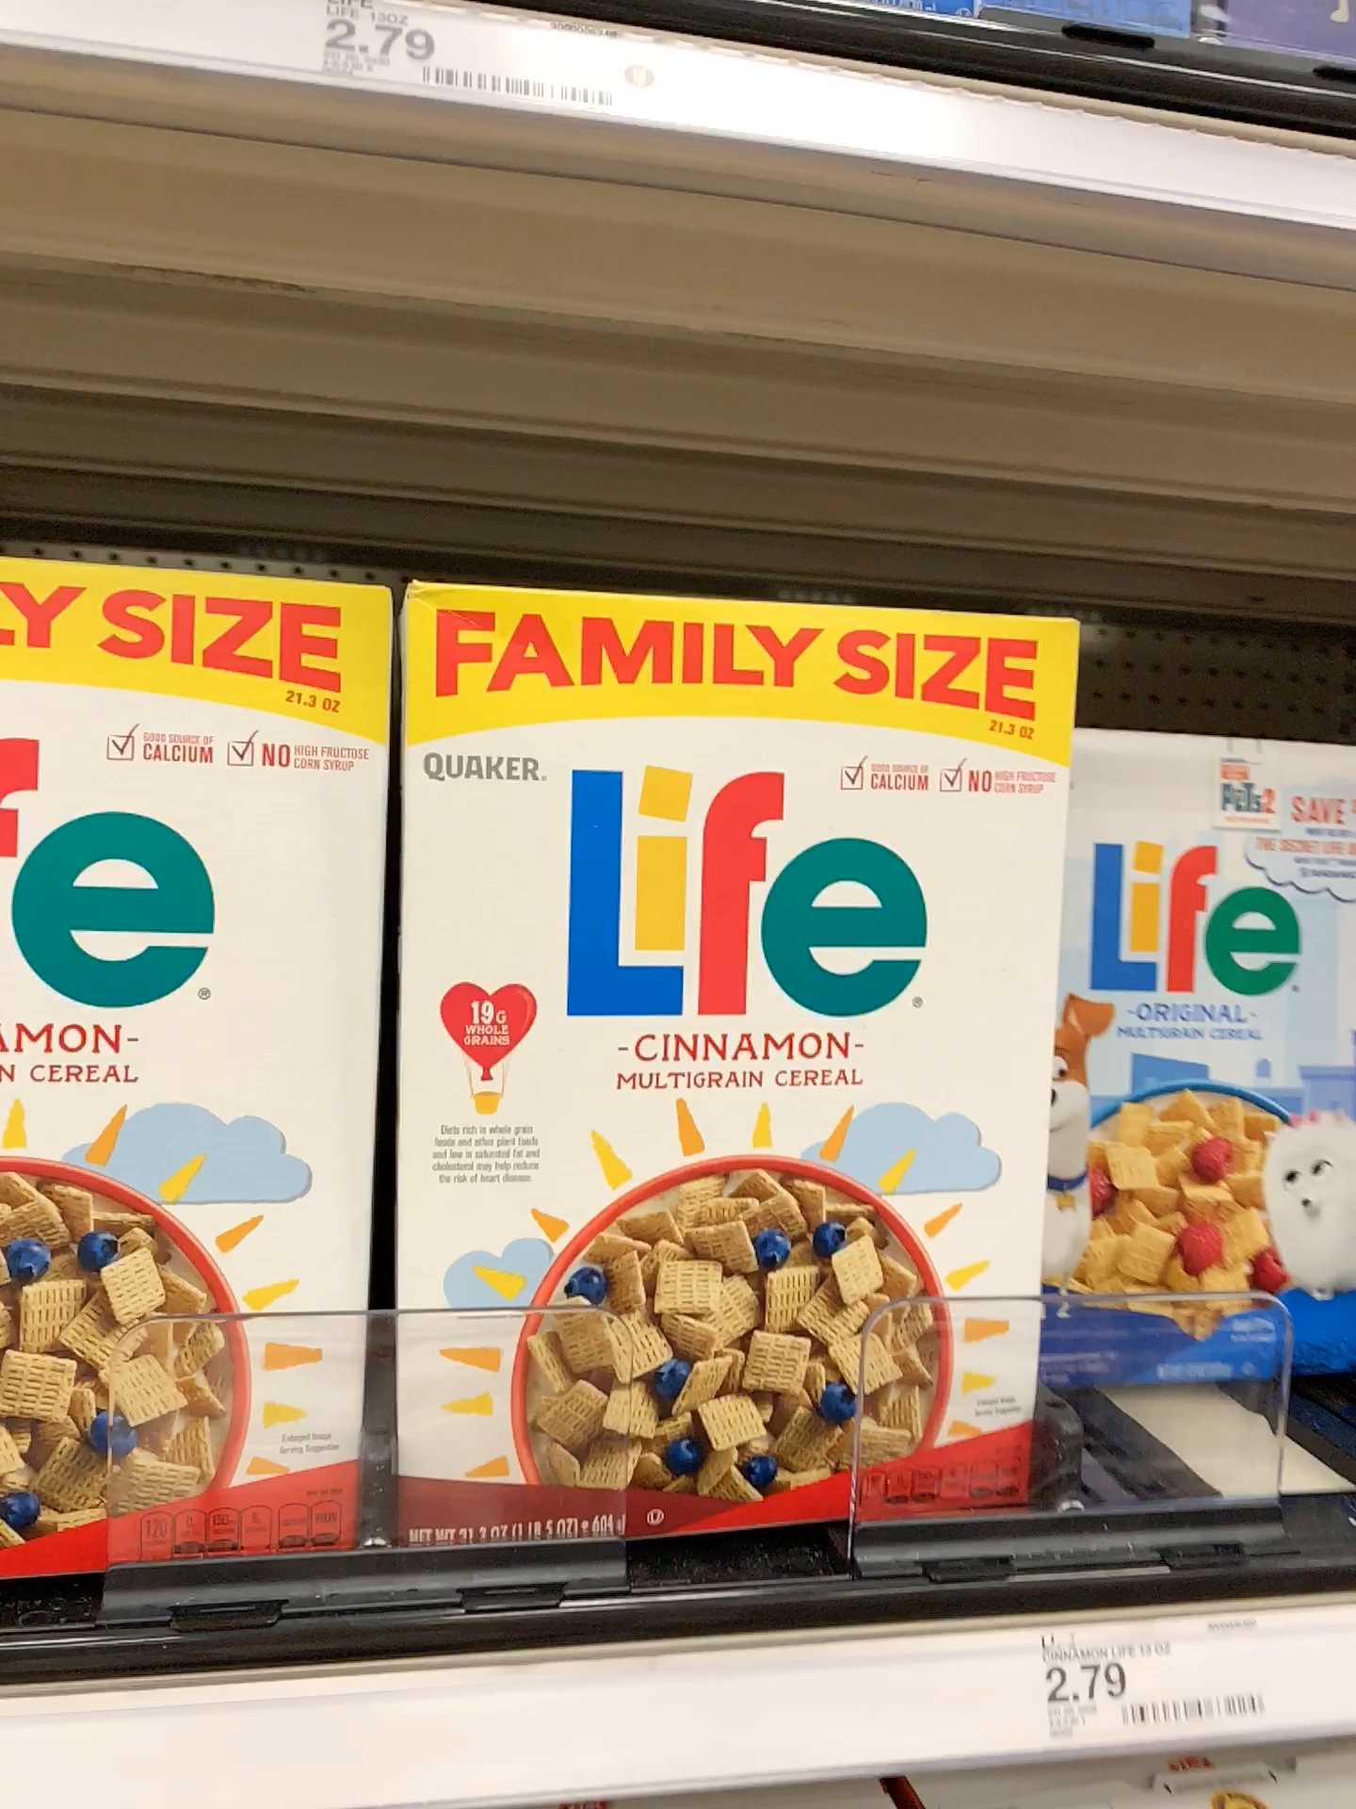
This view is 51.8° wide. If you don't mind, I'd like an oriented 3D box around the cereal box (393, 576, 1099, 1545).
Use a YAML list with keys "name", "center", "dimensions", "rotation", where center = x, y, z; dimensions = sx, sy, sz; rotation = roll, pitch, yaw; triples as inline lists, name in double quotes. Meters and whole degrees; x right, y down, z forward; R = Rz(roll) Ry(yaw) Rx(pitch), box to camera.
- name: "cereal box"
  center: [0.015, 0.043, 0.420]
  dimensions: [0.190, 0.260, 0.070]
  rotation: [1, 4, -9]
